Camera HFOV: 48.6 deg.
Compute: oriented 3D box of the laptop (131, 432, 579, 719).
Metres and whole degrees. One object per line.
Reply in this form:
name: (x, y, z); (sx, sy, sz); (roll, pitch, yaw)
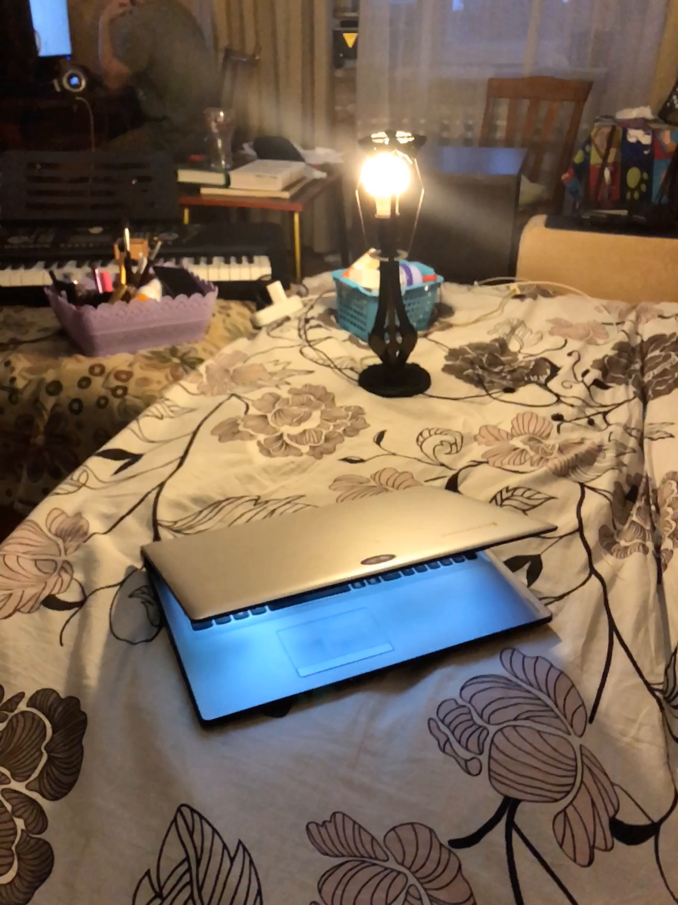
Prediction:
laptop: (0.005, 0.102, 0.793); (0.381, 0.082, 0.257); (-11, 31, -20)
